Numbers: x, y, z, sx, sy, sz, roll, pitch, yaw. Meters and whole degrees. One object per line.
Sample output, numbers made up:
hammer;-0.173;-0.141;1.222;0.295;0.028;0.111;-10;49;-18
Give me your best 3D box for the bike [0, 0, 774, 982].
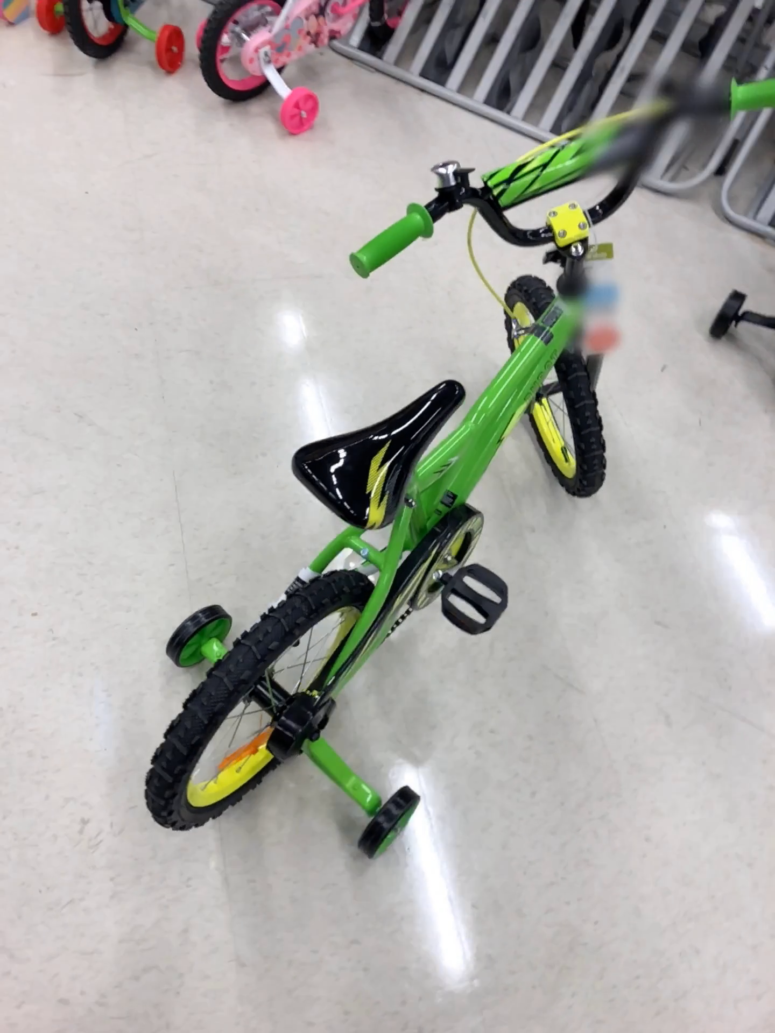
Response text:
bike;0.004;-0.179;1.051;0.552;0.808;1.047;28;63;12
